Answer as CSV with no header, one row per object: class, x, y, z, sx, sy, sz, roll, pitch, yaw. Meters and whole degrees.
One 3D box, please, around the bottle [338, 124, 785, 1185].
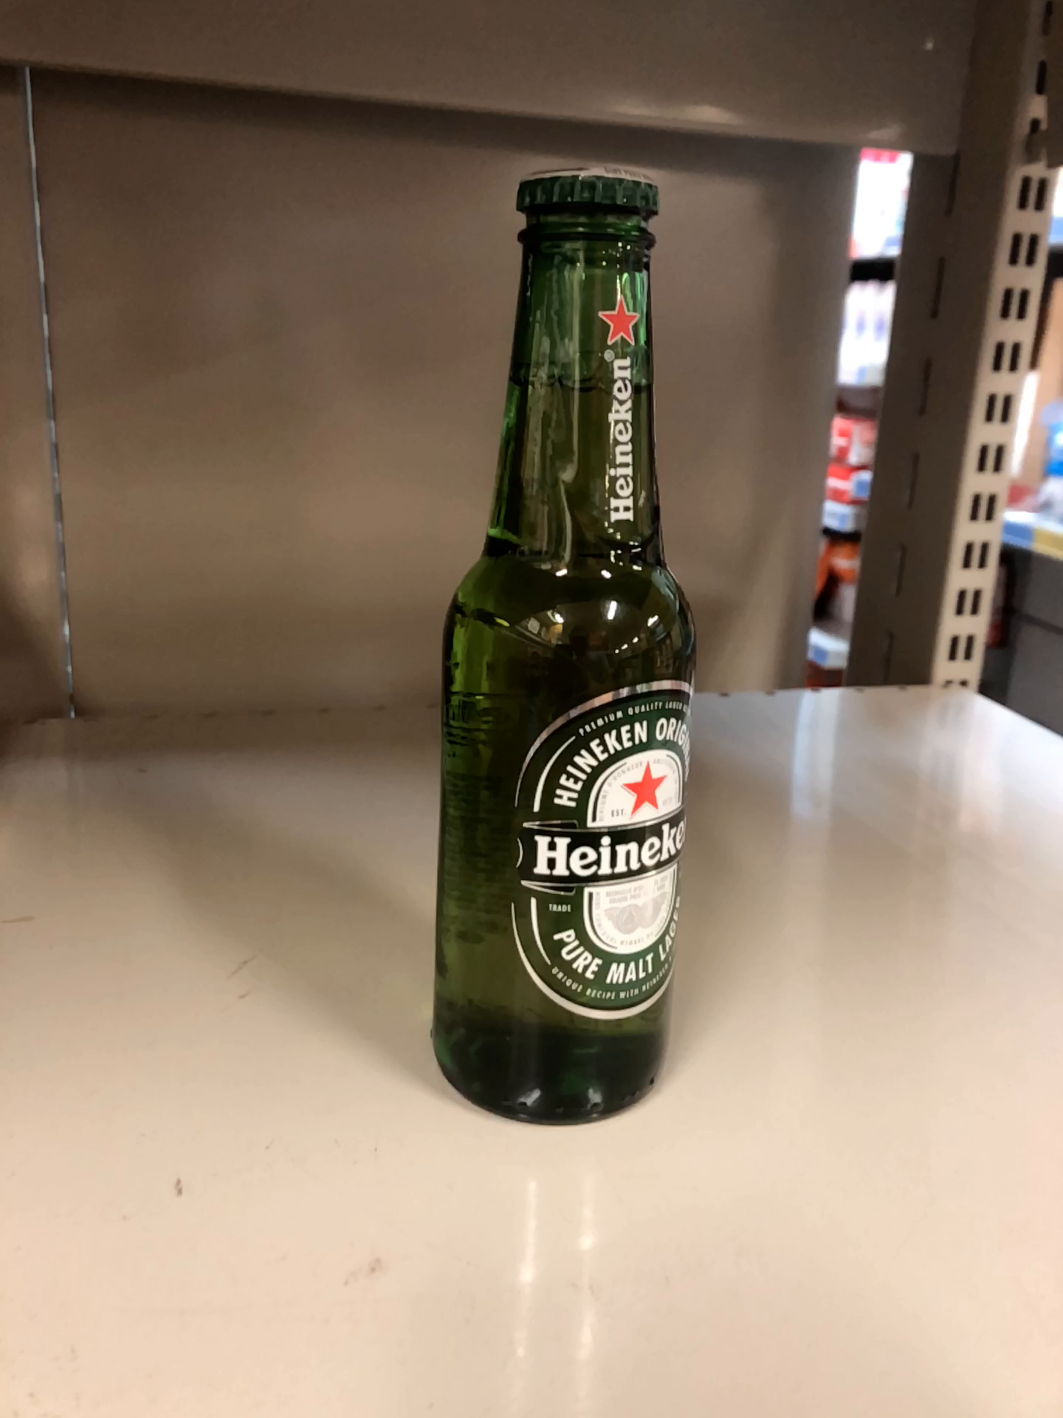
bottle,0.001,-0.010,0.255,0.060,0.199,0.060,3,18,-1
